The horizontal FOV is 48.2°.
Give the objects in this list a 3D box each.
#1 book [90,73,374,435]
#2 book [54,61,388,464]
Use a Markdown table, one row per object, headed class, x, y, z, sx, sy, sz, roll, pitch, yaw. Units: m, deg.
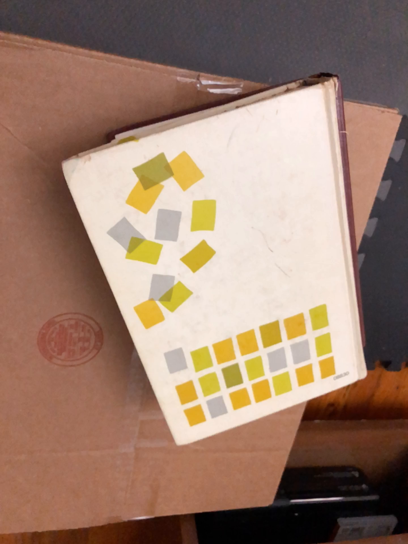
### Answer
| class | x | y | z | sx | sy | sz | roll | pitch | yaw |
| --- | --- | --- | --- | --- | --- | --- | --- | --- | --- |
| book | 0.039 | -0.001 | 0.360 | 0.180 | 0.040 | 0.250 | -18 | 120 | -7 |
| book | 0.033 | 0.009 | 0.326 | 0.180 | 0.040 | 0.250 | -20 | 120 | -6 |
